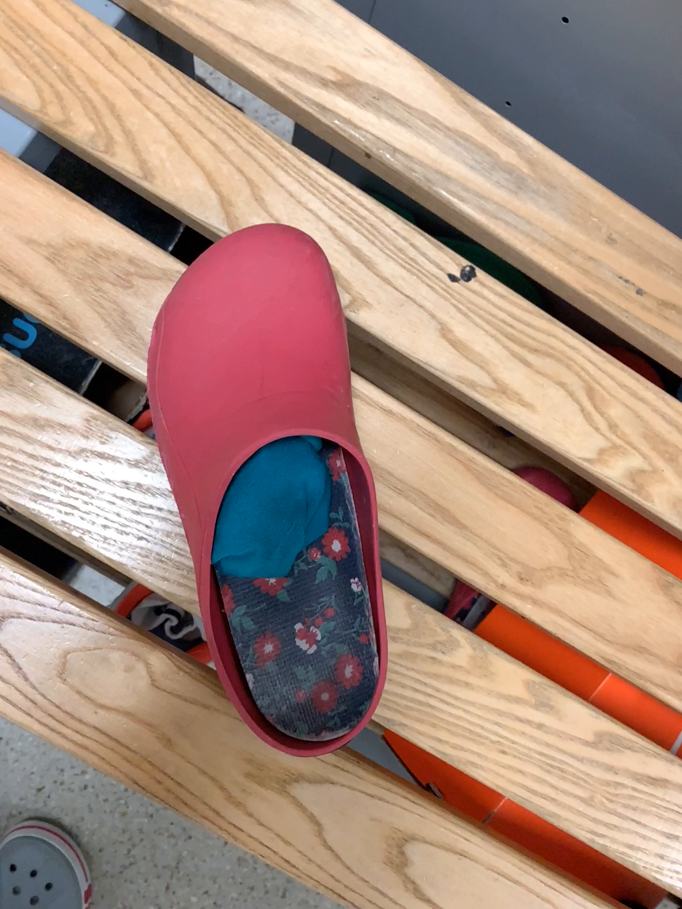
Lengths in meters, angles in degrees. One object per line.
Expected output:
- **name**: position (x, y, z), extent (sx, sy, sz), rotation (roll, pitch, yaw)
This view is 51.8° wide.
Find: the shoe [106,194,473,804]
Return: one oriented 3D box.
- **shoe**: position (-0.027, 0.015, 0.332), extent (0.106, 0.077, 0.238), rotation (-12, 87, -10)
